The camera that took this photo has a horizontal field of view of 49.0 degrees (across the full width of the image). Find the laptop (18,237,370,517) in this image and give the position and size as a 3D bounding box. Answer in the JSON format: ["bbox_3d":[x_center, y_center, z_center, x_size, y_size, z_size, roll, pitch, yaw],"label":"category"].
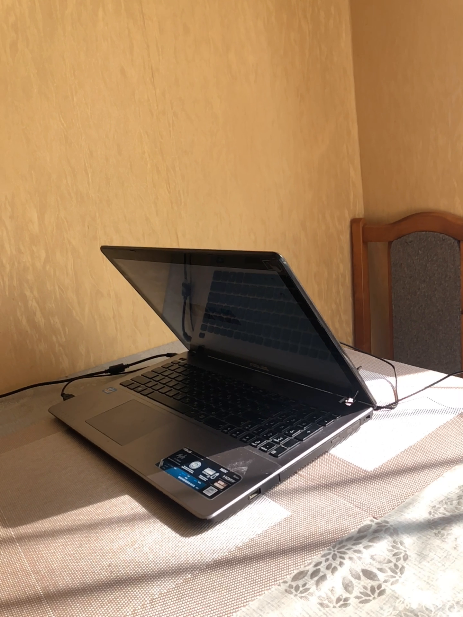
[{"bbox_3d":[-0.063,0.032,0.630,0.243,0.196,0.370,-19,18,-36],"label":"laptop"}]
